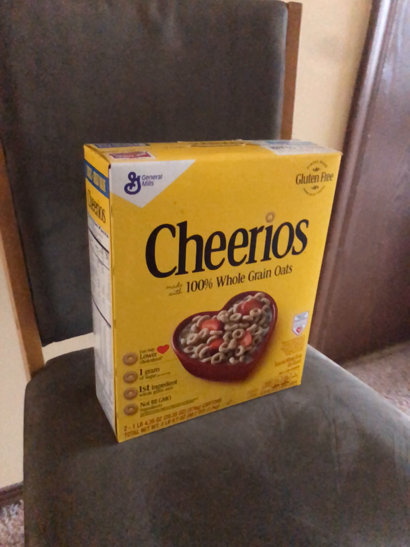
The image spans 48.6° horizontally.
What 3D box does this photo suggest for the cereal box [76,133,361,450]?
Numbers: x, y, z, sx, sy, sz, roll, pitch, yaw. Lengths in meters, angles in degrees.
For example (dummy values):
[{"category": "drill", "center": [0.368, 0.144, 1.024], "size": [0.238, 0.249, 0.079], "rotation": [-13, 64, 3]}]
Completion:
[{"category": "cereal box", "center": [0.010, 0.011, 0.498], "size": [0.260, 0.299, 0.090], "rotation": [-10, 29, -25]}]
